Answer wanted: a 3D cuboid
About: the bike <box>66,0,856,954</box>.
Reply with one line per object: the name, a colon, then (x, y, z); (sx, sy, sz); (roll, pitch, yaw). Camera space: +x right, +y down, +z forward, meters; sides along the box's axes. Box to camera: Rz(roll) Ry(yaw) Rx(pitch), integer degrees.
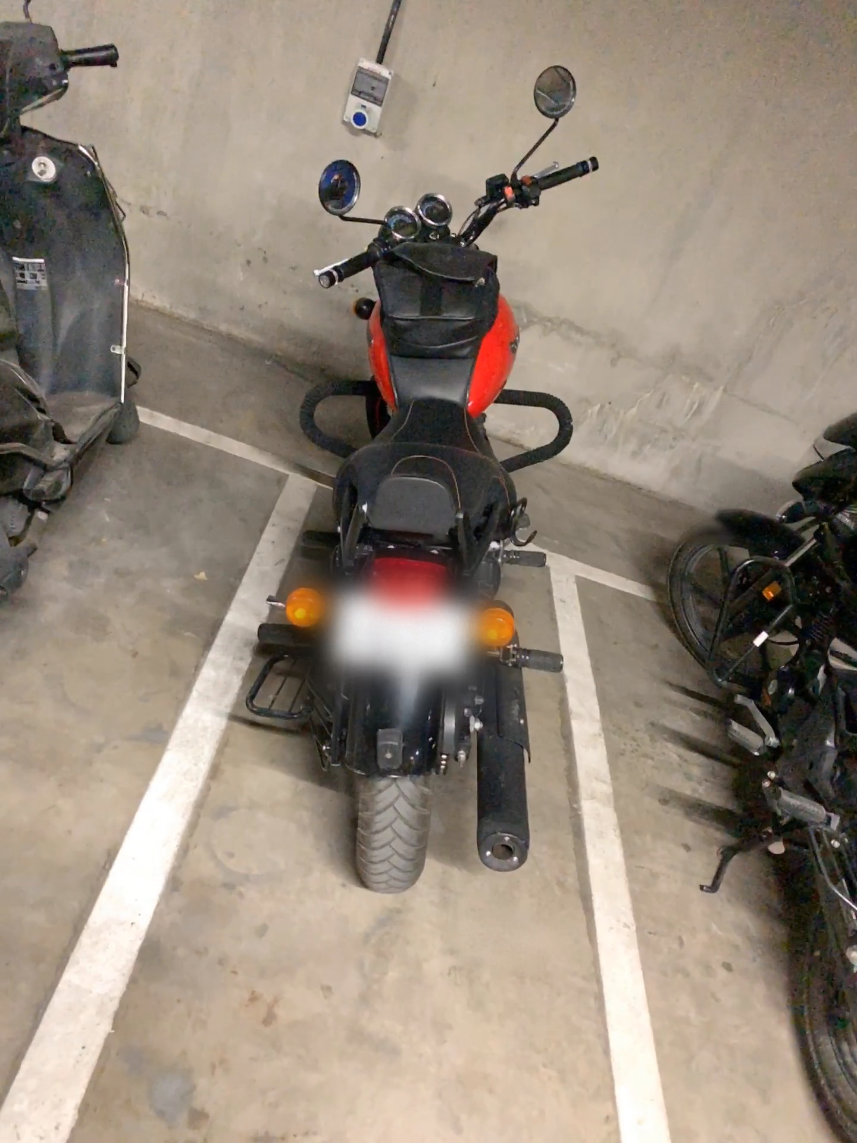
bike: (-0.117, -0.436, 2.040); (0.829, 1.301, 1.844); (14, 34, -17)
